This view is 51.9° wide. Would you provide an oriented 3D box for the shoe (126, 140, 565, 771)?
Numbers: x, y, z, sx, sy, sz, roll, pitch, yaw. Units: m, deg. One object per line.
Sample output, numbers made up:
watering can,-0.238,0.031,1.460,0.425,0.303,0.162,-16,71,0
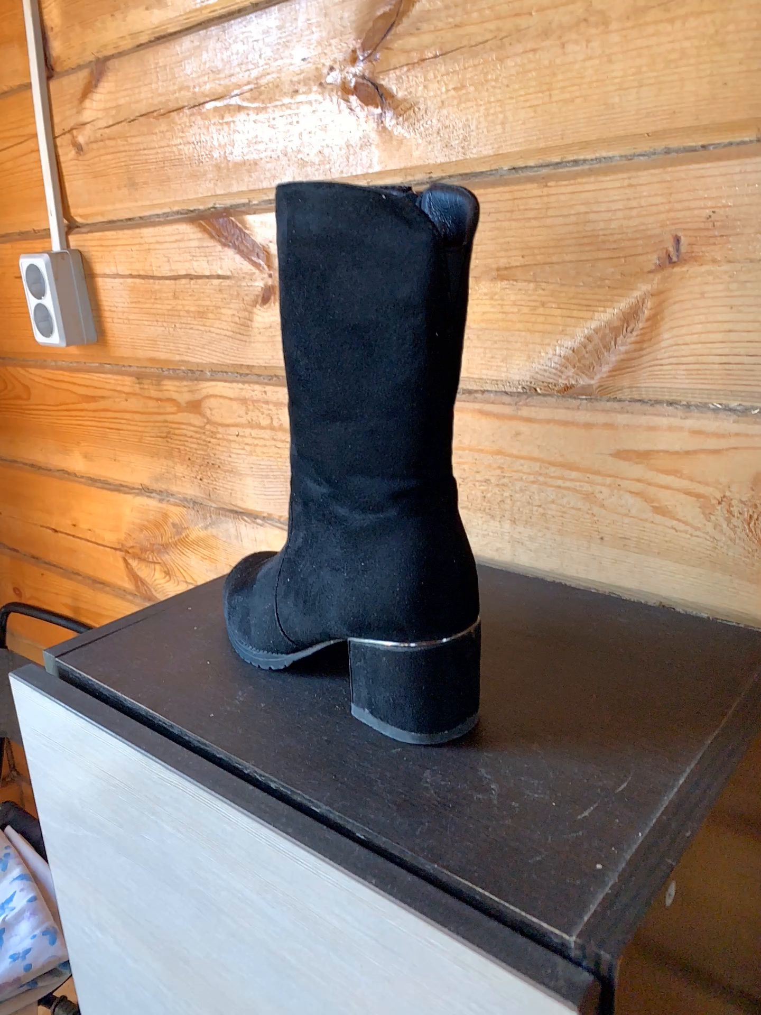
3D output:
shoe,-0.027,-0.040,0.441,0.100,0.268,0.233,-16,21,-40
